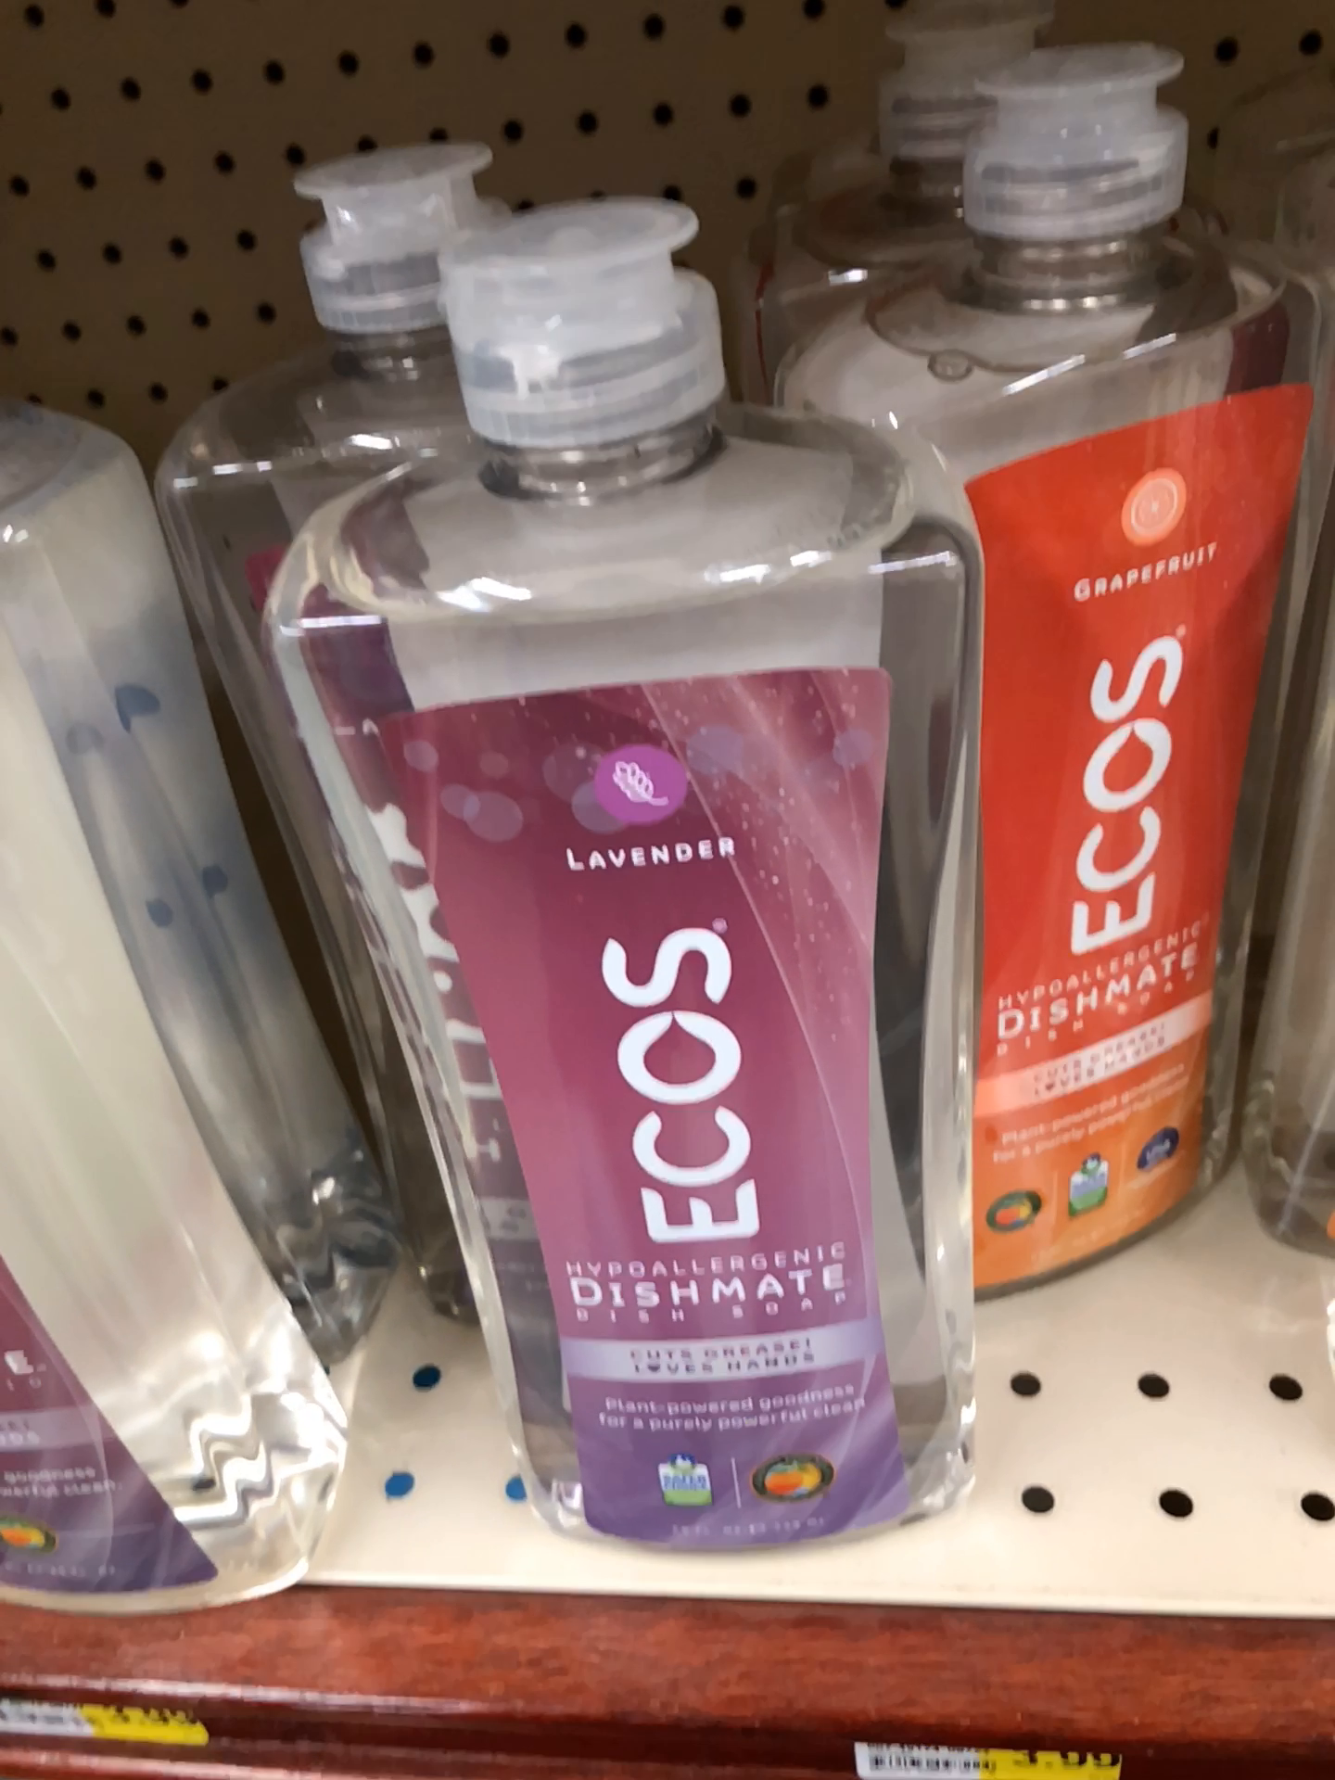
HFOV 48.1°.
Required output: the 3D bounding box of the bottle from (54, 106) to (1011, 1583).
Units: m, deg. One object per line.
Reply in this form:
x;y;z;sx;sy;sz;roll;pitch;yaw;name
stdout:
0.001;0.023;0.232;0.090;0.243;0.048;-4;38;5;bottle
